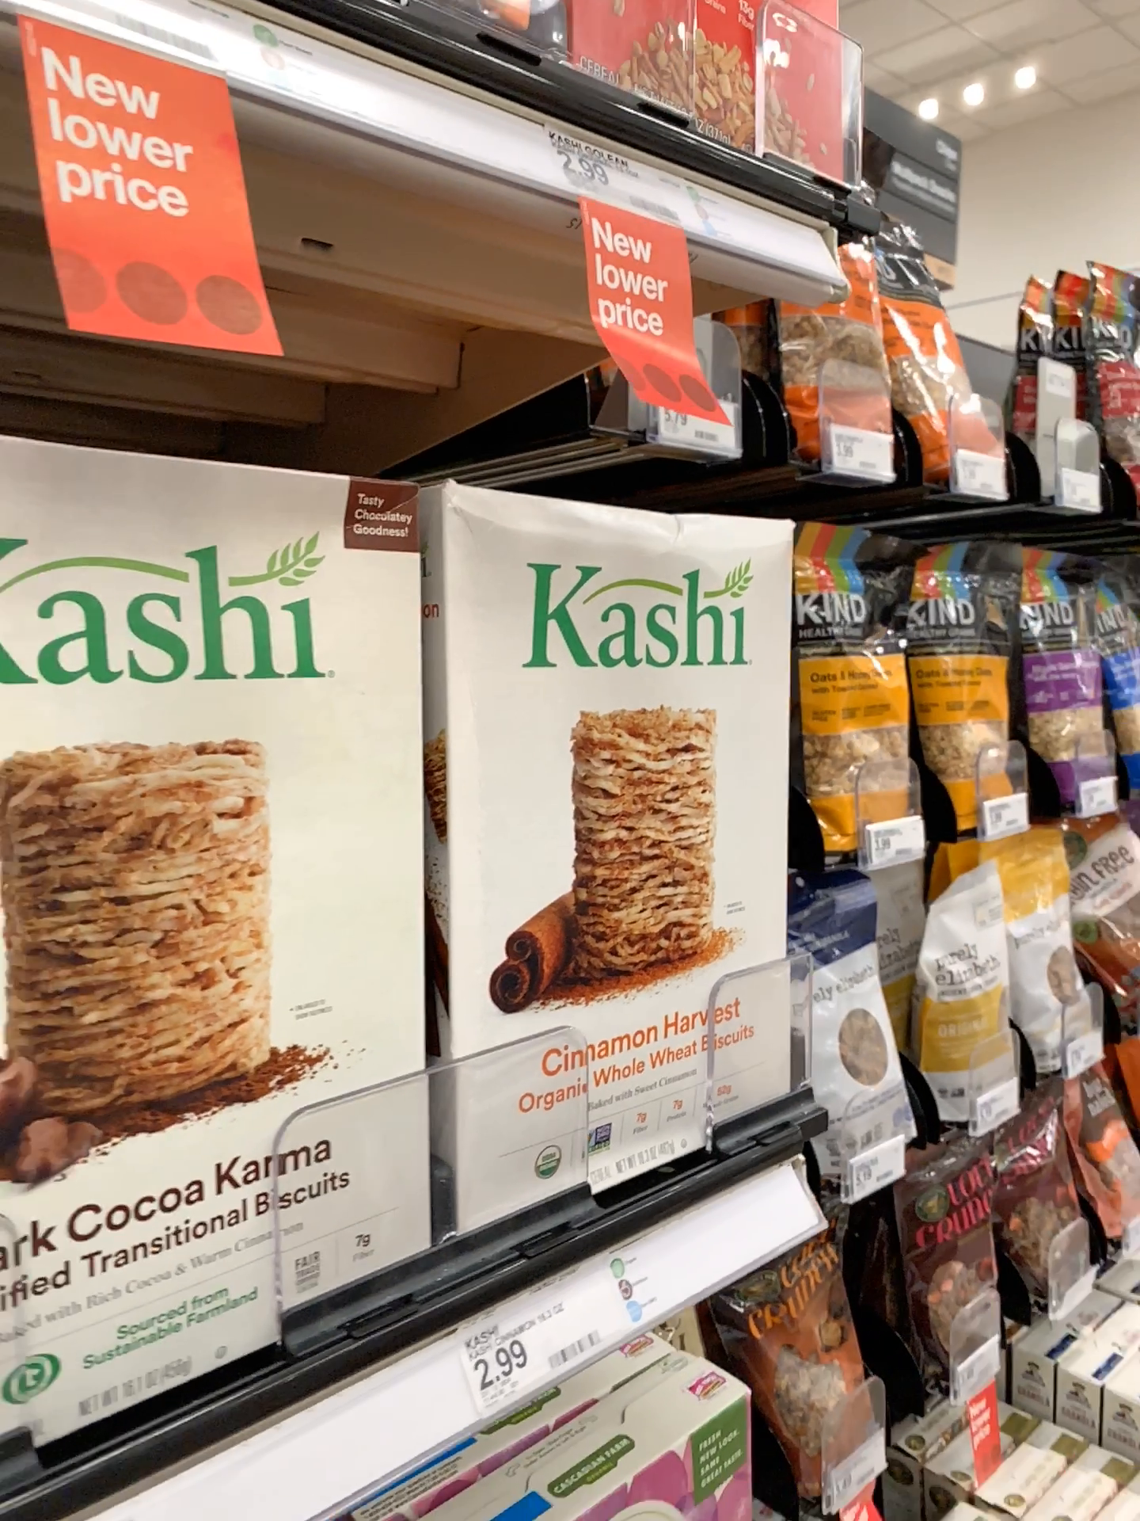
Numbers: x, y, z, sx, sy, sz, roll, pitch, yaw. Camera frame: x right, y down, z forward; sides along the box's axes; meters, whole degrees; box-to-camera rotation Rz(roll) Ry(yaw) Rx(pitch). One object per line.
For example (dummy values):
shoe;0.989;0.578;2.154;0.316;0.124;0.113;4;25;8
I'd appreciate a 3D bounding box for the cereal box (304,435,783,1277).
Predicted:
cereal box;-0.001;0.026;0.477;0.190;0.280;0.070;-5;6;-42
